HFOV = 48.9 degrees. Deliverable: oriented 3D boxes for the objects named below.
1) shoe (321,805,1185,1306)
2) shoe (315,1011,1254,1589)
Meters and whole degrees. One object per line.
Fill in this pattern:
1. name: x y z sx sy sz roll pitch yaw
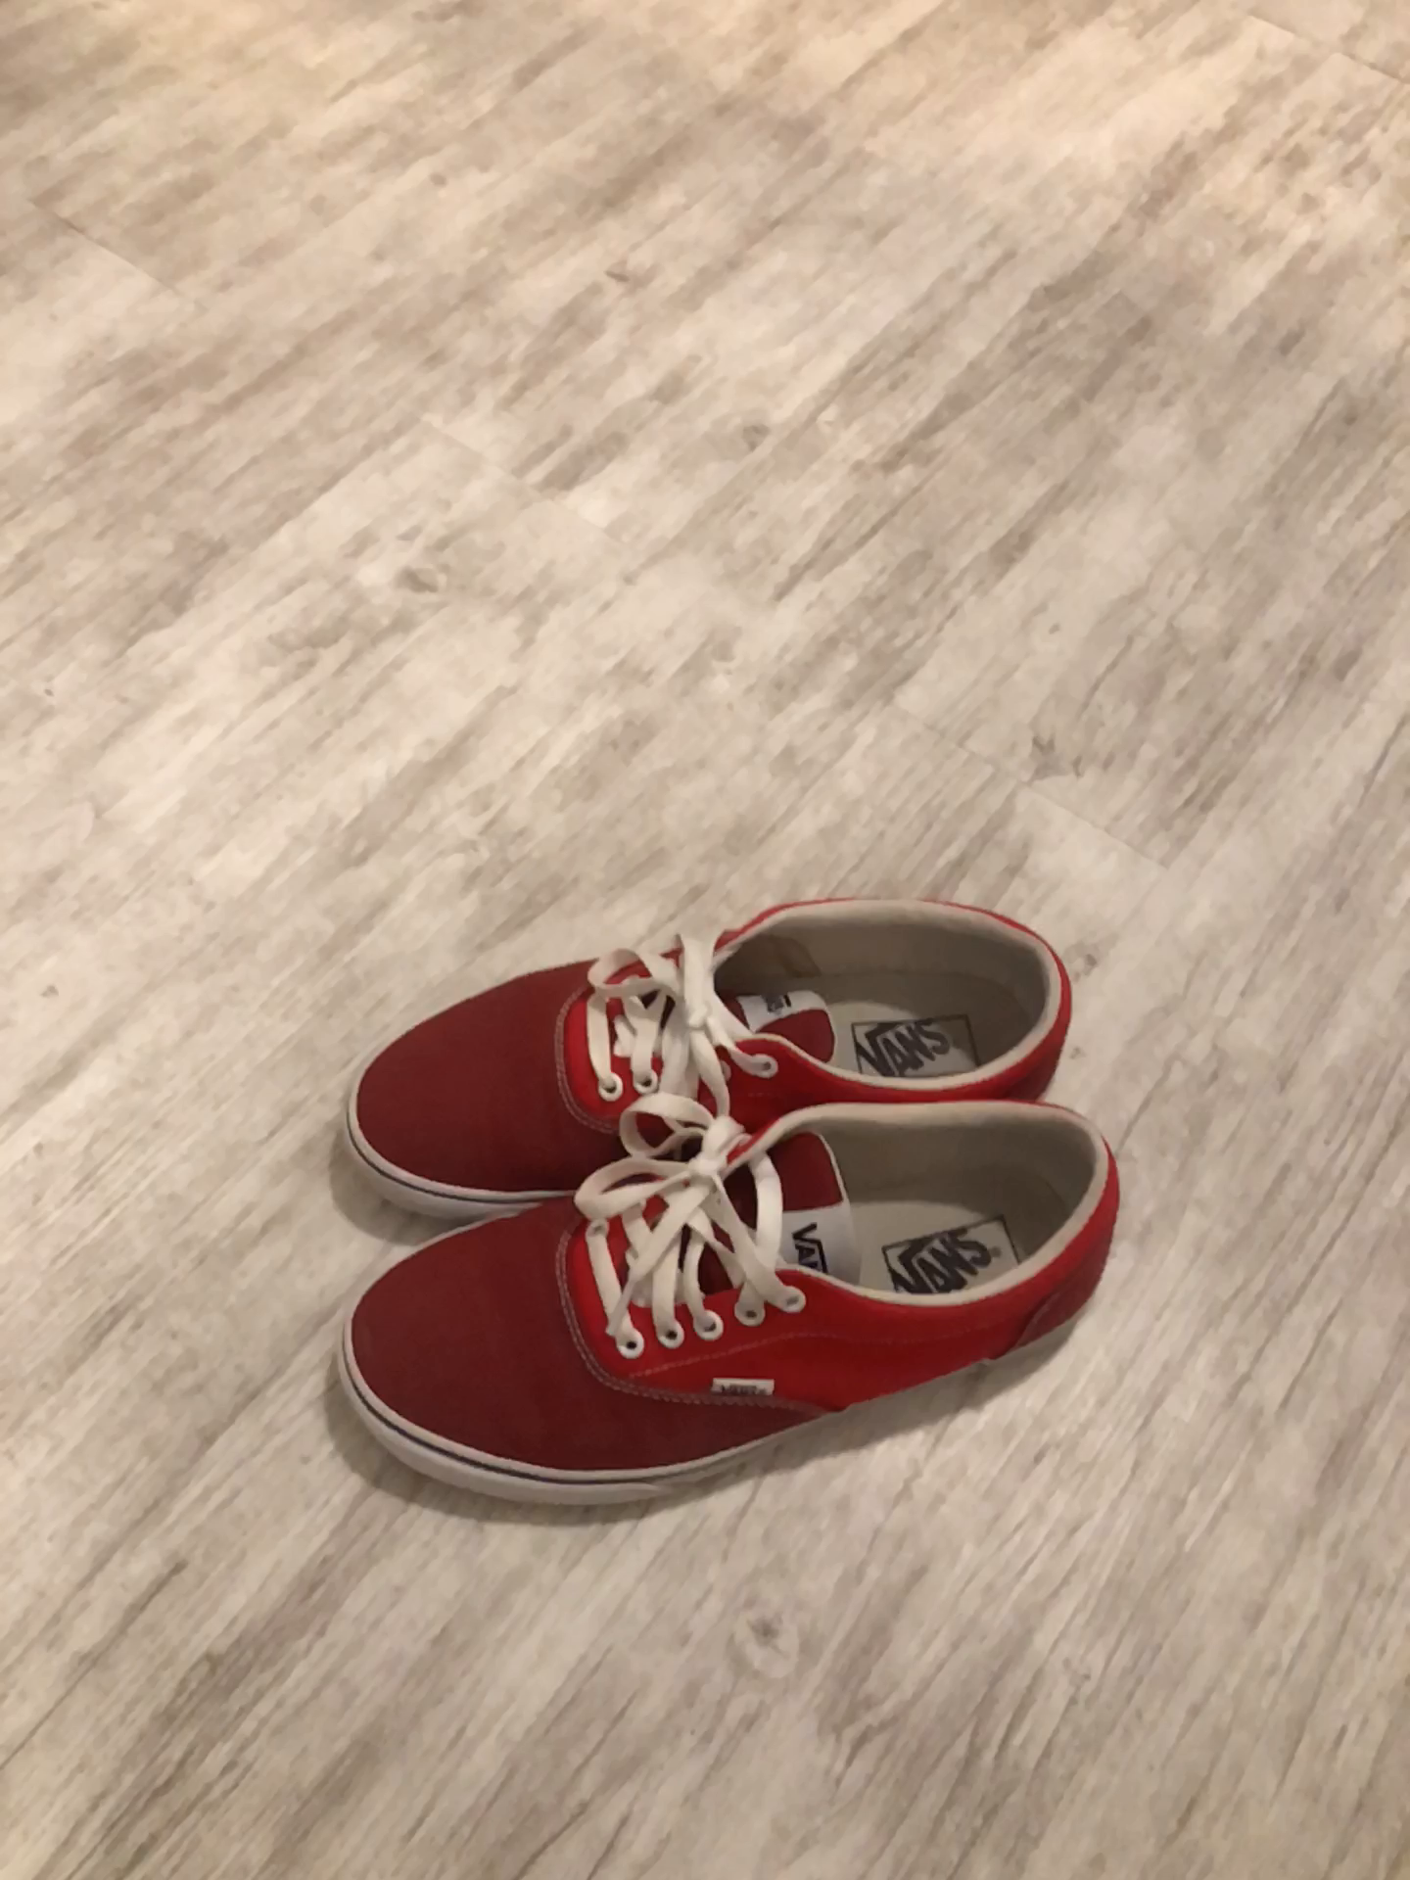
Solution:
1. shoe: 0.011 0.041 0.557 0.272 0.093 0.110 -8 60 -7
2. shoe: 0.020 0.116 0.509 0.266 0.088 0.110 -11 60 -8
